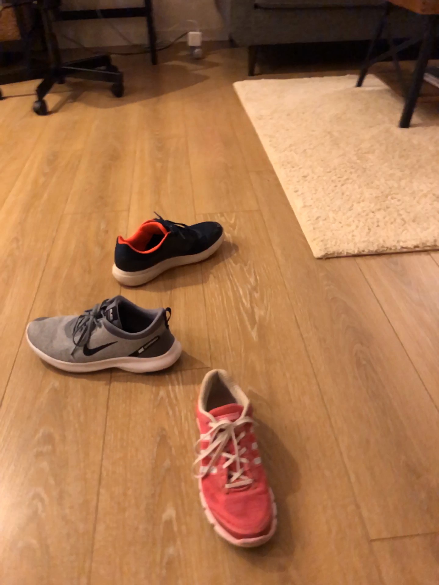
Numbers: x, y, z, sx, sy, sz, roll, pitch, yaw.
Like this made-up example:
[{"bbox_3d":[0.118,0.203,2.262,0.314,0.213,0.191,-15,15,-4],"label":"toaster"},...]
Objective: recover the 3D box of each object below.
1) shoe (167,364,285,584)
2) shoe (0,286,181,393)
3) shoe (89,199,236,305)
[{"bbox_3d":[-0.002,0.250,0.722,0.120,0.099,0.282,-7,38,-7],"label":"shoe"},{"bbox_3d":[-0.247,0.084,0.911,0.320,0.099,0.131,6,39,9],"label":"shoe"},{"bbox_3d":[-0.126,-0.106,1.153,0.321,0.099,0.130,-26,44,-28],"label":"shoe"}]
